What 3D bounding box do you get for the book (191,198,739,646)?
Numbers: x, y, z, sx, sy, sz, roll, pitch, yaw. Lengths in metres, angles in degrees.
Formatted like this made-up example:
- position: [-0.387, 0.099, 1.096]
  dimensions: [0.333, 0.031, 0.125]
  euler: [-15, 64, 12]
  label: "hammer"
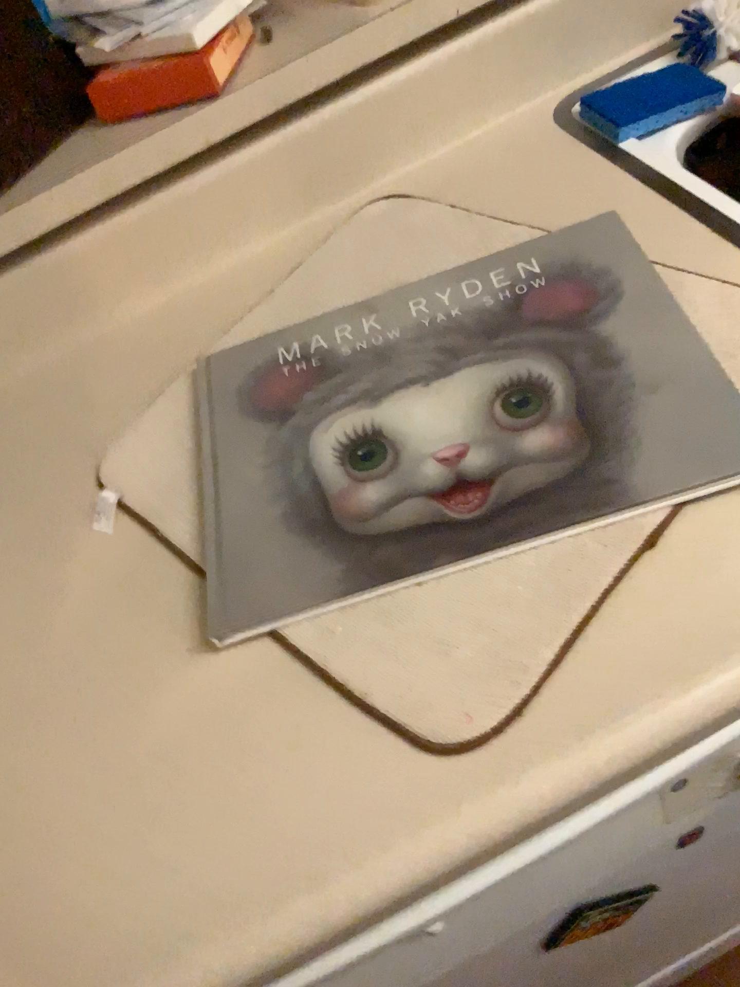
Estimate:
- position: [0.050, -0.071, 0.610]
  dimensions: [0.380, 0.020, 0.290]
  euler: [-18, 49, 6]
  label: "book"
